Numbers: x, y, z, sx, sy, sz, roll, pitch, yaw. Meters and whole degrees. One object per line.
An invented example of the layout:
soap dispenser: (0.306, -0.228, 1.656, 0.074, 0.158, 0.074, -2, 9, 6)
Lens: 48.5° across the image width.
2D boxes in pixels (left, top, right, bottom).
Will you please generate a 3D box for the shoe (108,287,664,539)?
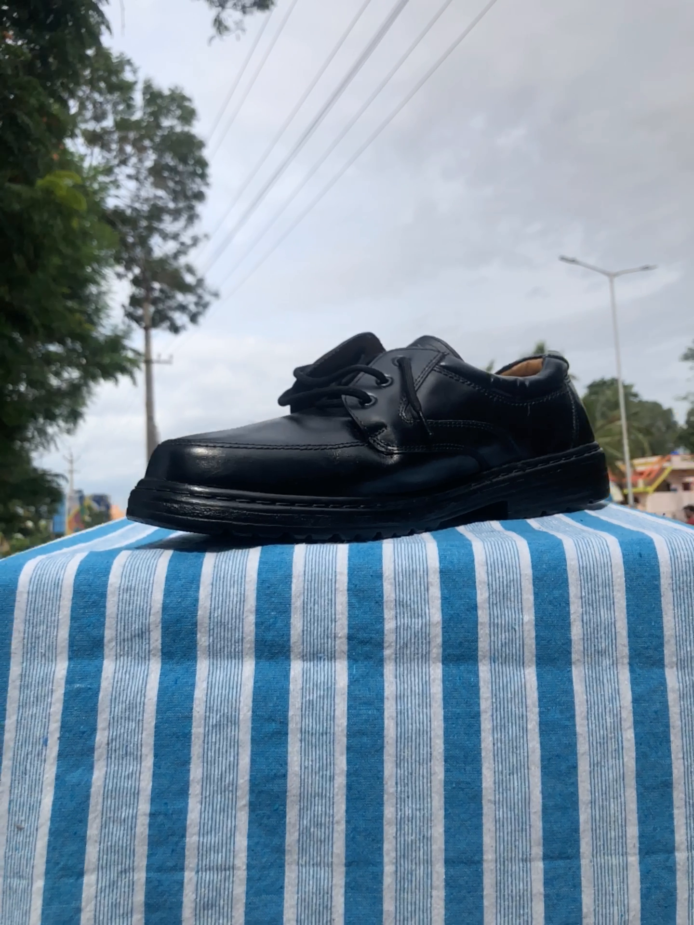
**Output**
shoe: (0.030, -0.019, 0.425, 0.290, 0.100, 0.110, 0, -1, -30)
